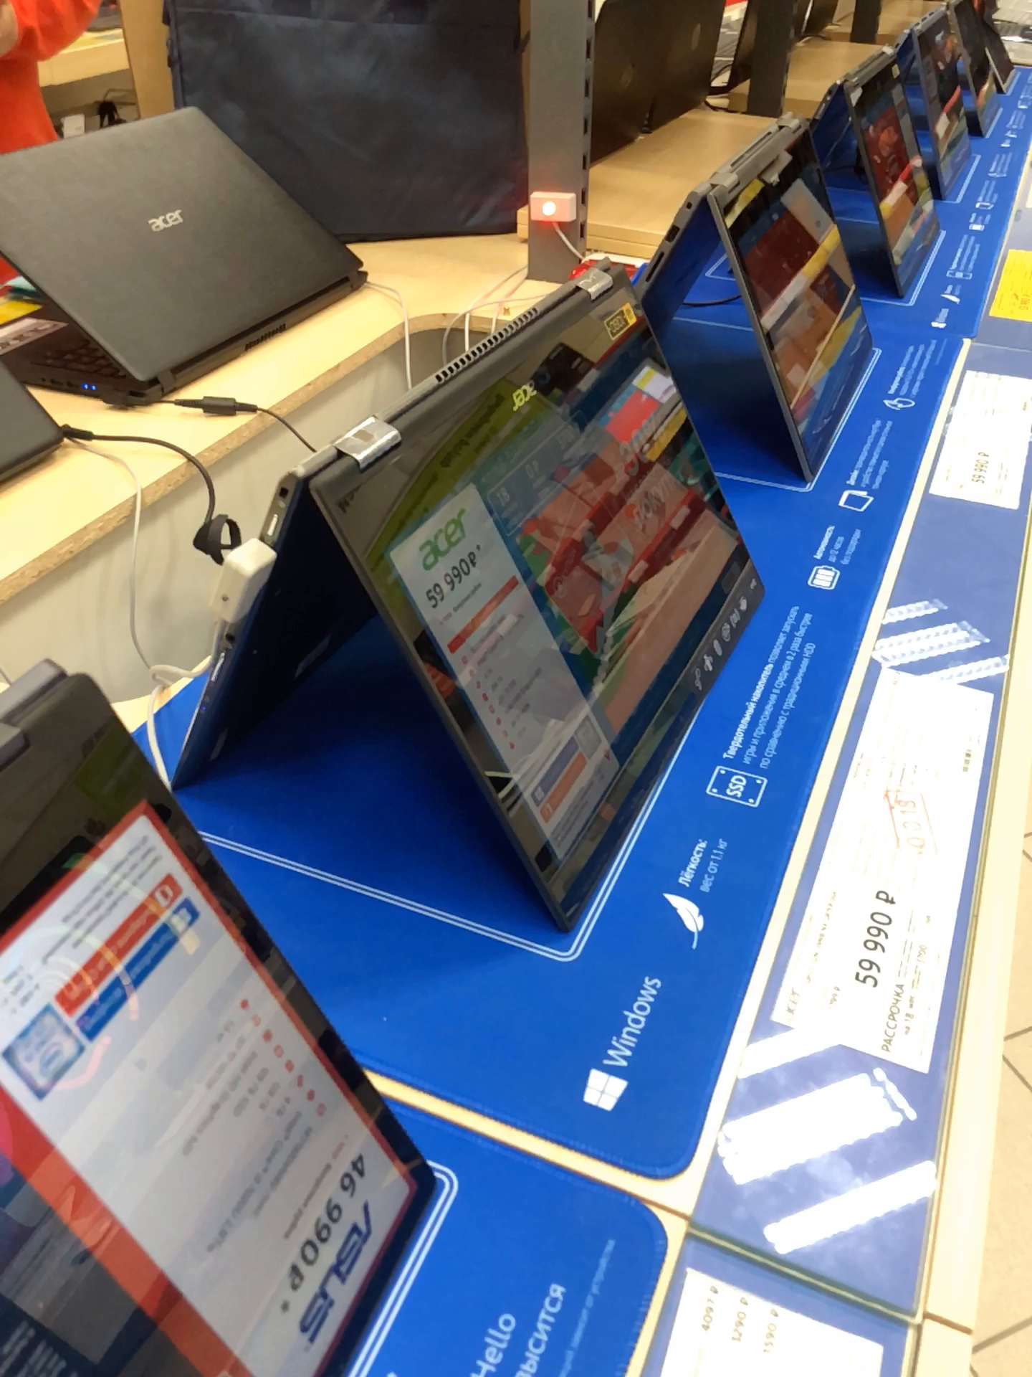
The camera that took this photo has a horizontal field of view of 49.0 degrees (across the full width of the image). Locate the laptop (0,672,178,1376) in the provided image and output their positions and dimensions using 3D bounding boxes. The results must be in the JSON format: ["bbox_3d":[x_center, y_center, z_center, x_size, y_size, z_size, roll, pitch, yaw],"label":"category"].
[{"bbox_3d":[-0.212,0.199,0.317,0.175,0.179,0.270,-16,21,31],"label":"laptop"}]

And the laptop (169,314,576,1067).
[{"bbox_3d":[-0.067,-0.003,0.669,0.201,0.159,0.308,-24,17,30],"label":"laptop"}]
